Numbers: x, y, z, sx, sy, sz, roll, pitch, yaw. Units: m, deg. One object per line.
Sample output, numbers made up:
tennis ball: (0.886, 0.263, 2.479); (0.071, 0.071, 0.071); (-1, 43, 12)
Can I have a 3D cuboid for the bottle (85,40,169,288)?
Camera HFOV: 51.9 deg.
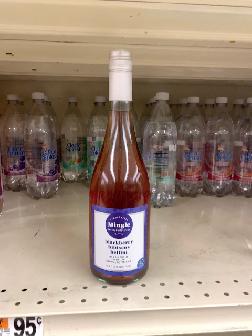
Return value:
bottle: (0.000, 0.001, 0.349); (0.090, 0.299, 0.080); (1, 12, 1)
